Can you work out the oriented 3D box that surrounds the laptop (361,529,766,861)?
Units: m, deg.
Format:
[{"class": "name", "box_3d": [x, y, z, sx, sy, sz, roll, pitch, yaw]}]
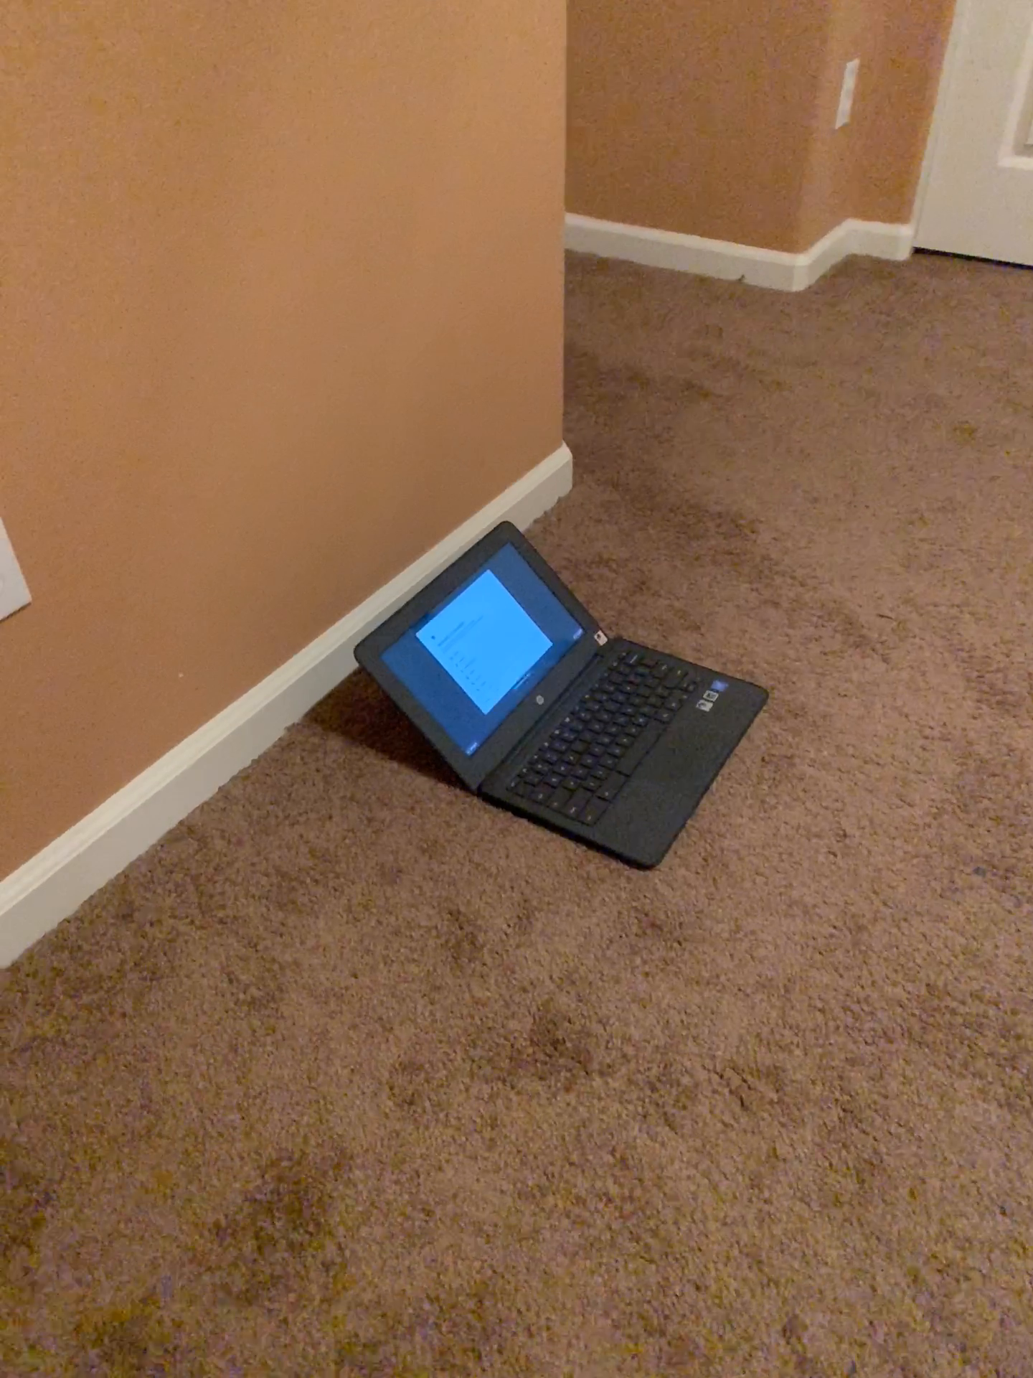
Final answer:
[{"class": "laptop", "box_3d": [0.055, -0.013, 1.150, 0.332, 0.124, 0.289, 20, 44, 24]}]
